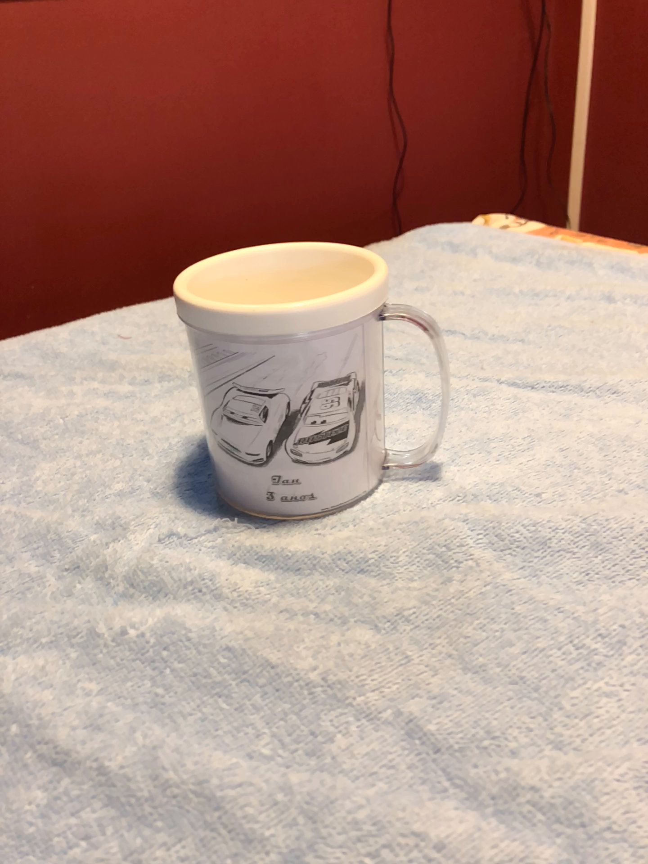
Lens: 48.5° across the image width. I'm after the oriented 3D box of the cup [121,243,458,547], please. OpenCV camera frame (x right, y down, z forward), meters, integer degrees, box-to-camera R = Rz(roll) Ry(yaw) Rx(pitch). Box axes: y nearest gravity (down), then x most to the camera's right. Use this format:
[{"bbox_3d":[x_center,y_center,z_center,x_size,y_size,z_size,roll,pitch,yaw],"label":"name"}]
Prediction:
[{"bbox_3d":[-0.005,-0.022,0.321,0.120,0.099,0.091,3,29,14],"label":"cup"}]
